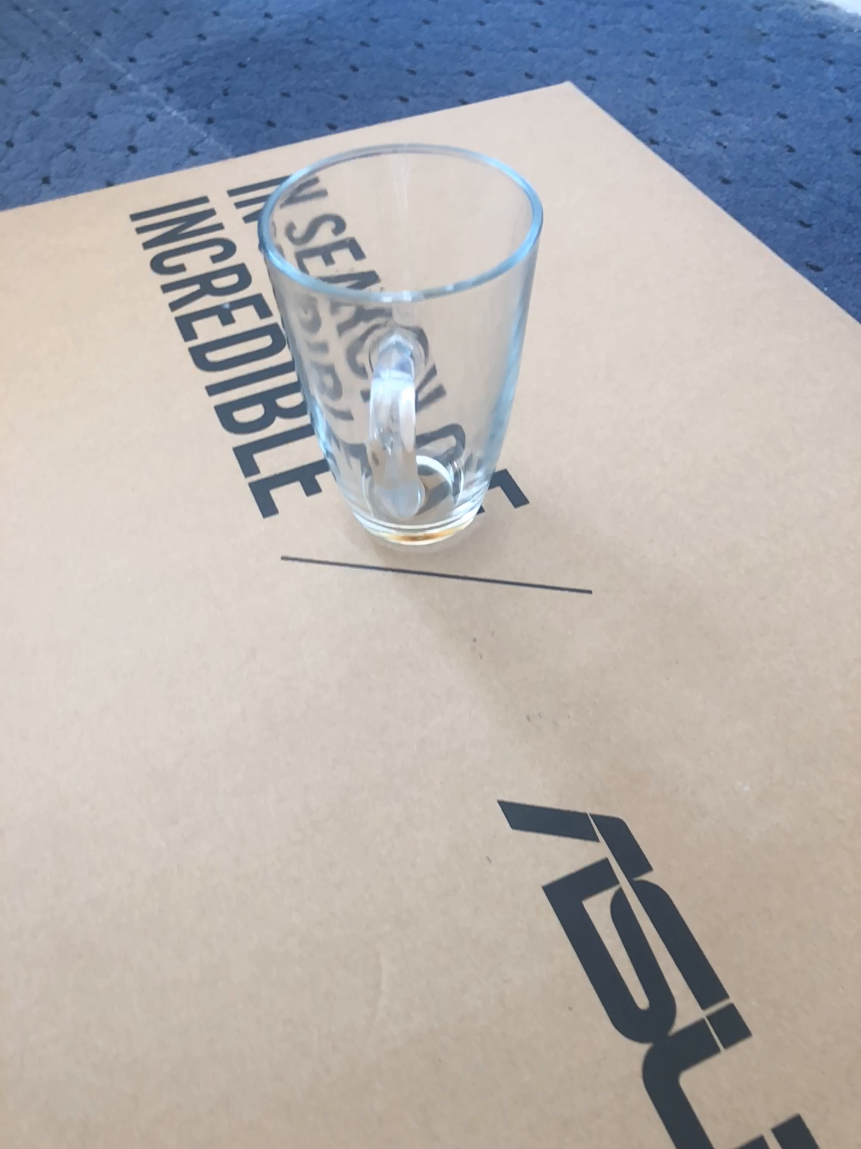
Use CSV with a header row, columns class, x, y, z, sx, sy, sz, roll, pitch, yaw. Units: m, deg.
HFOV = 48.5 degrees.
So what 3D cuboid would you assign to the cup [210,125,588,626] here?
class,x,y,z,sx,sy,sz,roll,pitch,yaw
cup,-0.014,-0.061,0.289,0.080,0.090,0.110,-10,51,-8
